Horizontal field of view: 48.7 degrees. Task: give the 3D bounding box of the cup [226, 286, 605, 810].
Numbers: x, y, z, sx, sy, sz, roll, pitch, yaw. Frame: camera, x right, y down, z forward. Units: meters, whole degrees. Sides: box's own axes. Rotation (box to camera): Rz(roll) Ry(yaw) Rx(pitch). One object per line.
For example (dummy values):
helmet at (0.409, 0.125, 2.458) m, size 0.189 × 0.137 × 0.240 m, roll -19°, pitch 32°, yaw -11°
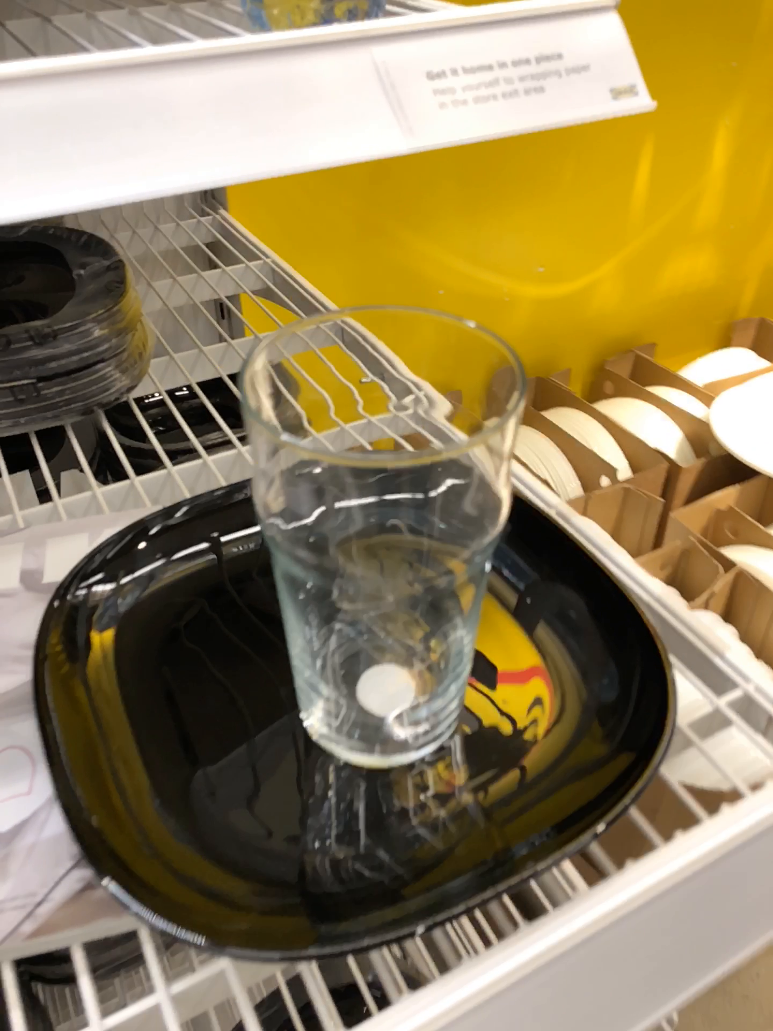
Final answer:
cup at (0.003, 0.011, 0.289) m, size 0.090 × 0.139 × 0.090 m, roll -1°, pitch 37°, yaw 0°
